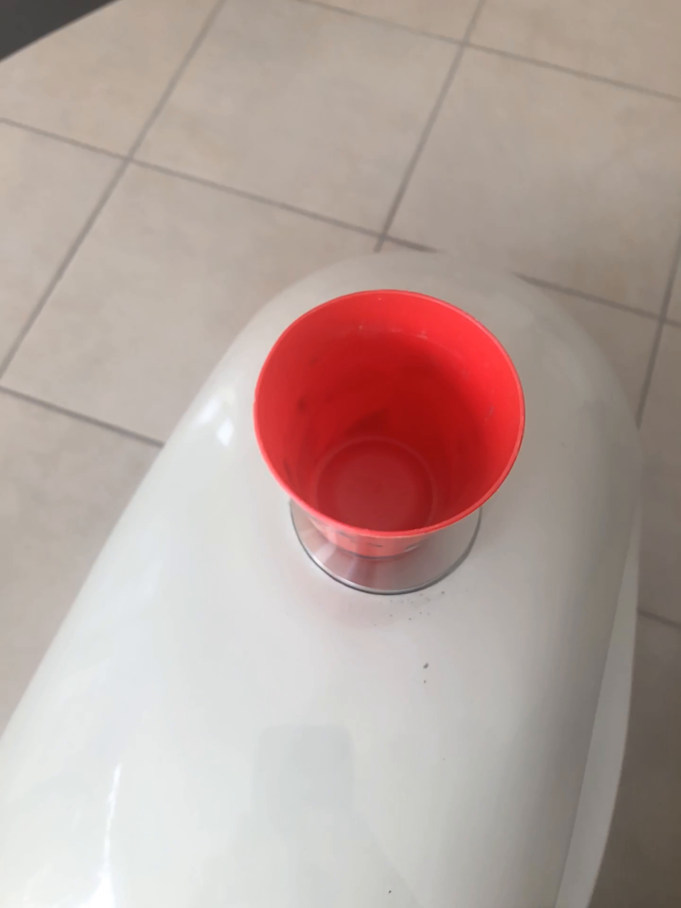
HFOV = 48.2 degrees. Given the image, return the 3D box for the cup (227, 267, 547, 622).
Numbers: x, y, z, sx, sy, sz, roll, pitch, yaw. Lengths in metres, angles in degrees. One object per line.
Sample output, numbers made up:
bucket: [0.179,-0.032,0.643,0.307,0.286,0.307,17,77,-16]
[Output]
cup: [0.016,0.003,0.256,0.080,0.090,0.080,0,68,0]
